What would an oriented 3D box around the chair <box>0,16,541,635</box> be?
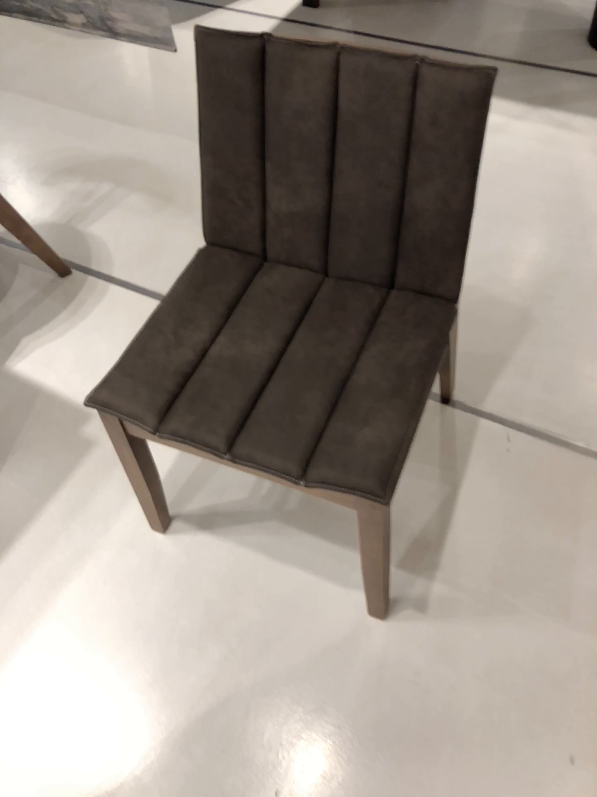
[{"bbox_3d":[-0.003,-0.083,1.120,0.541,0.776,0.572,17,58,18],"label":"chair"}]
